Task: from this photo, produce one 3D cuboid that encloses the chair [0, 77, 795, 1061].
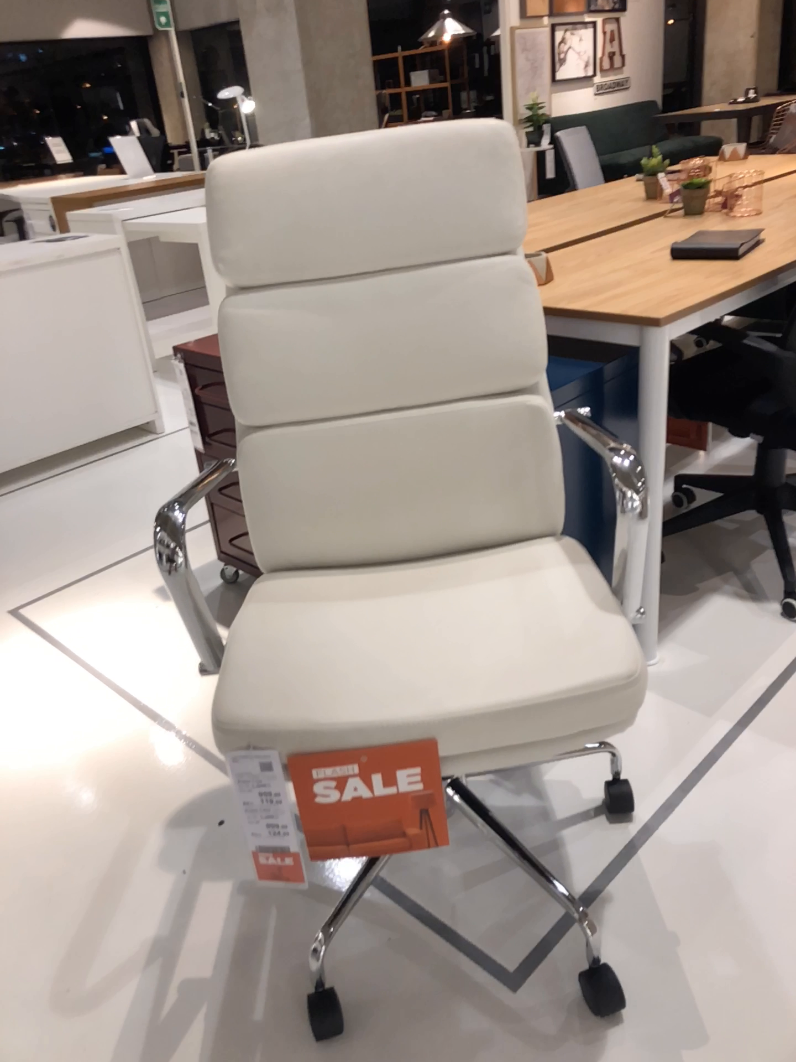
[{"bbox_3d":[0.051,0.029,1.123,0.660,1.013,0.655,-7,26,-1],"label":"chair"}]
